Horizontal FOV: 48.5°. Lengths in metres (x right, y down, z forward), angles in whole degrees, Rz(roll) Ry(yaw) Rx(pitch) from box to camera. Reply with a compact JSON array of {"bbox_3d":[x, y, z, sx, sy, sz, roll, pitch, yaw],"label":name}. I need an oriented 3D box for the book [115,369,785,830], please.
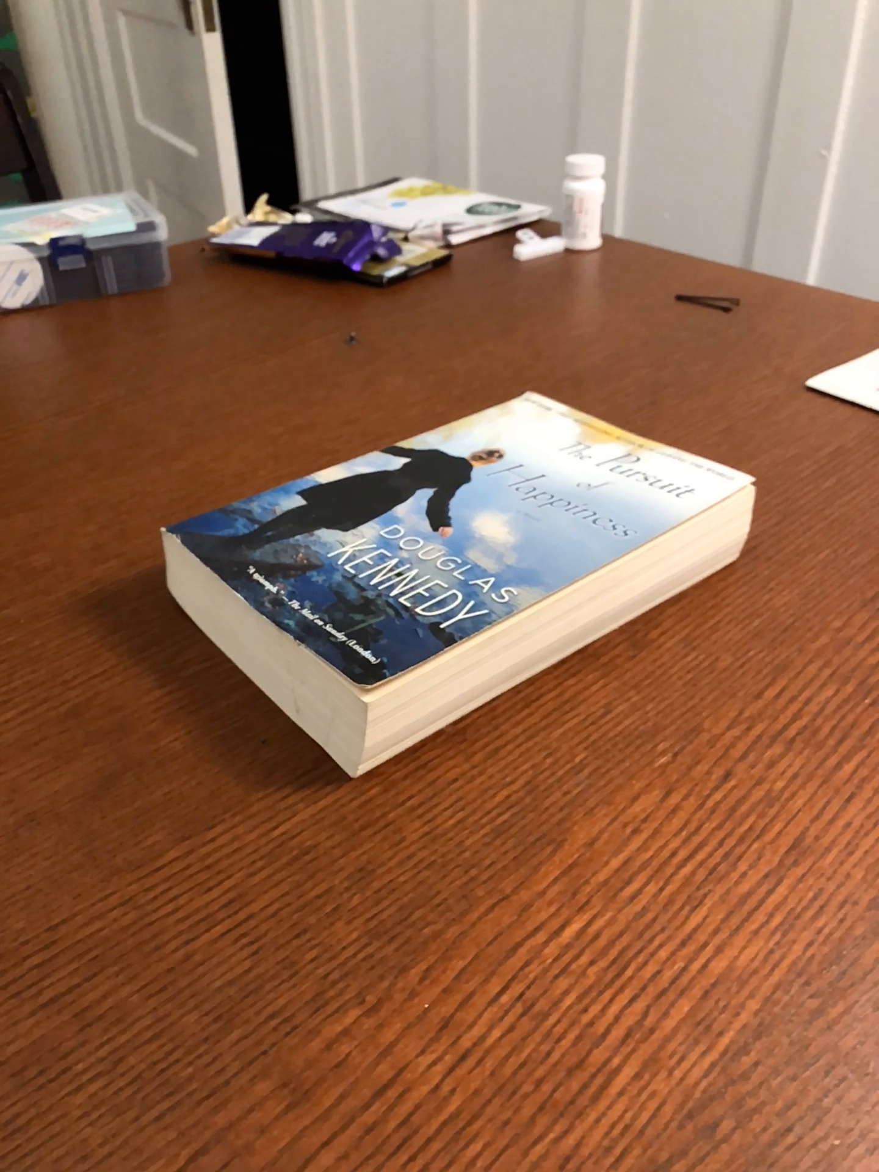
[{"bbox_3d":[0.009,-0.018,0.431,0.241,0.050,0.161,-26,42,-32],"label":"book"}]
